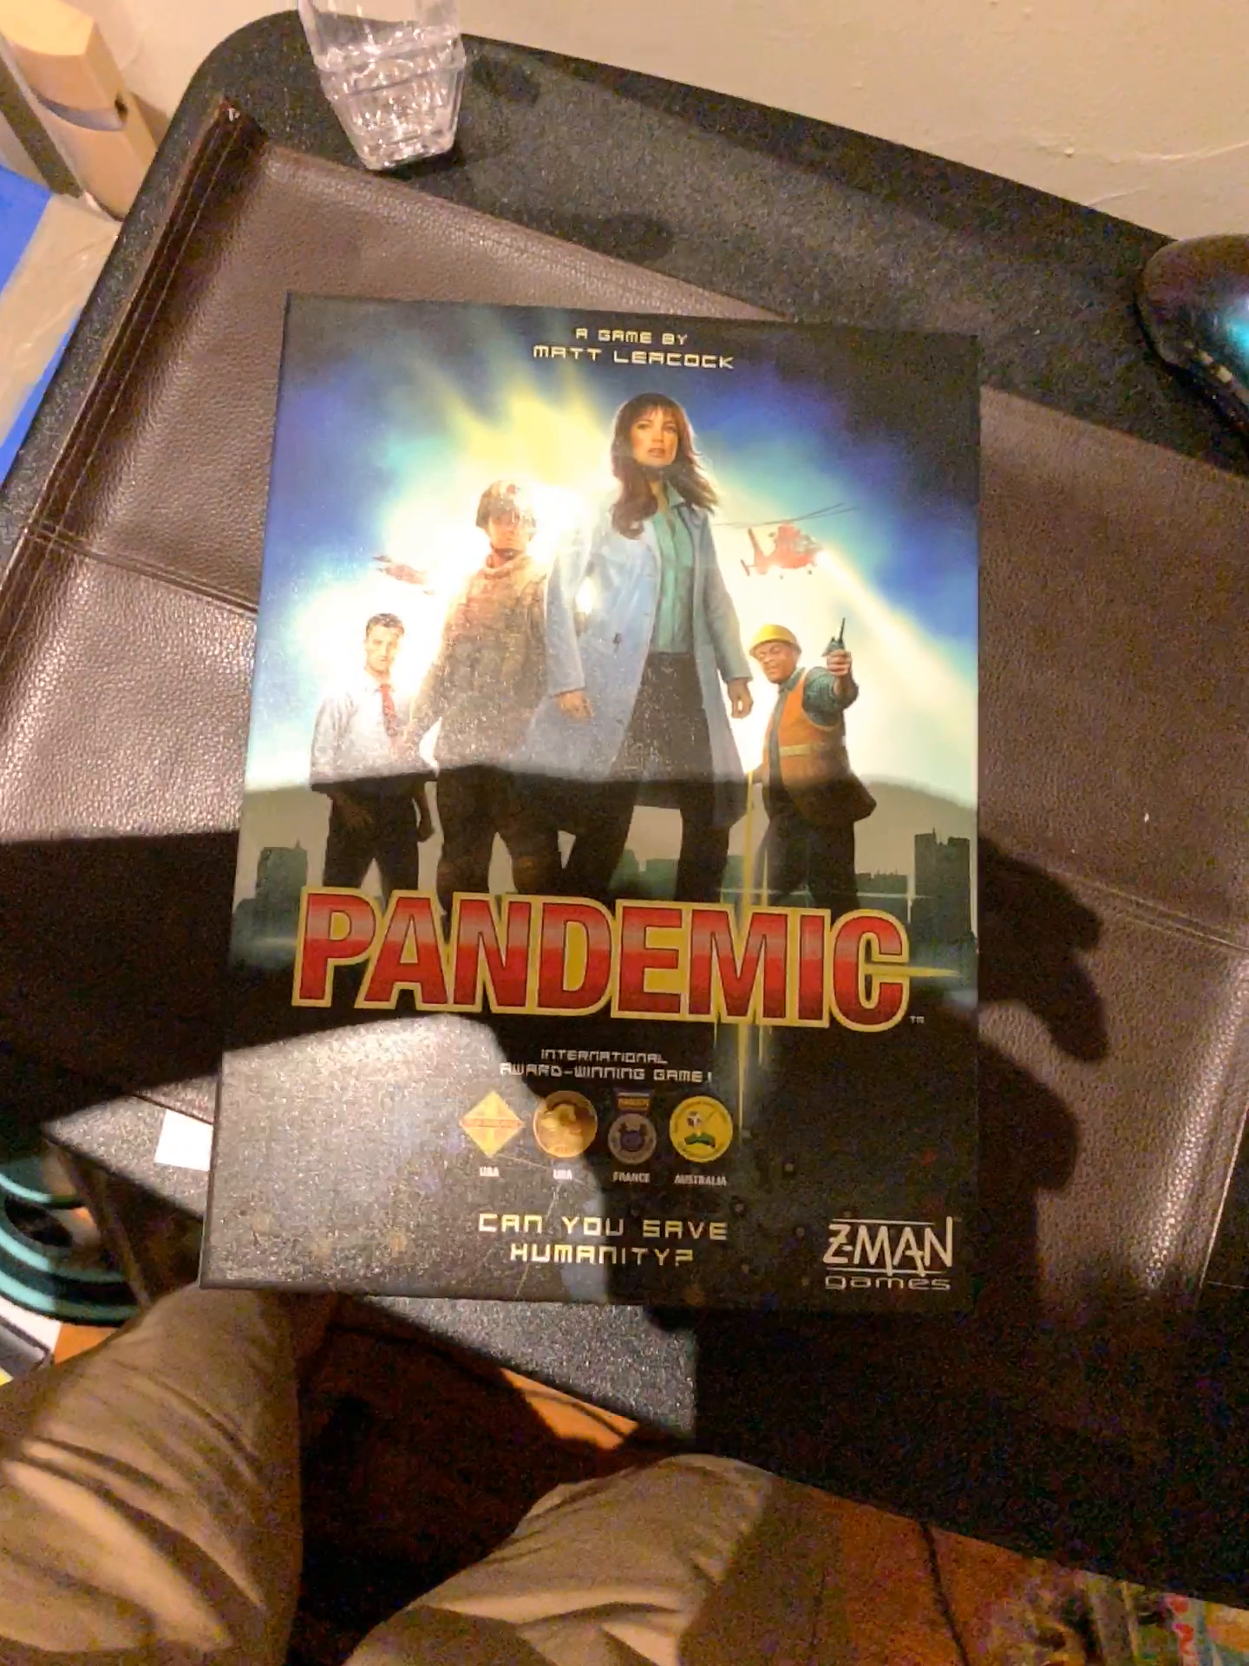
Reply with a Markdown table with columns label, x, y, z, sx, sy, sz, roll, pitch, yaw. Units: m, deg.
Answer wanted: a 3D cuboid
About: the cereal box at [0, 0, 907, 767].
| label | x | y | z | sx | sy | sz | roll | pitch | yaw |
| --- | --- | --- | --- | --- | --- | --- | --- | --- | --- |
| cereal box | -0.186 | -0.487 | 1.196 | 0.470 | 1.000 | 0.510 | -27 | 83 | -5 |
